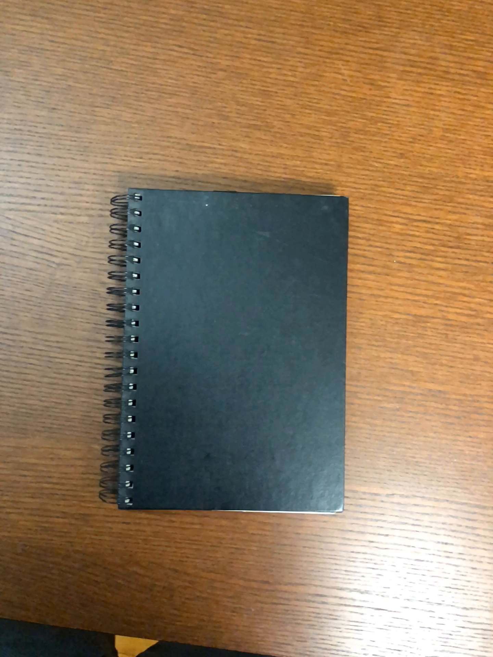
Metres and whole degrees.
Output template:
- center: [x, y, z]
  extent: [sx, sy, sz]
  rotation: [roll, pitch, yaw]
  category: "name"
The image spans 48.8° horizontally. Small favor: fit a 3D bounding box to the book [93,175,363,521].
- center: [-0.013, 0.014, 0.429]
  extent: [0.200, 0.030, 0.260]
  rotation: [1, 88, -1]
  category: "book"
